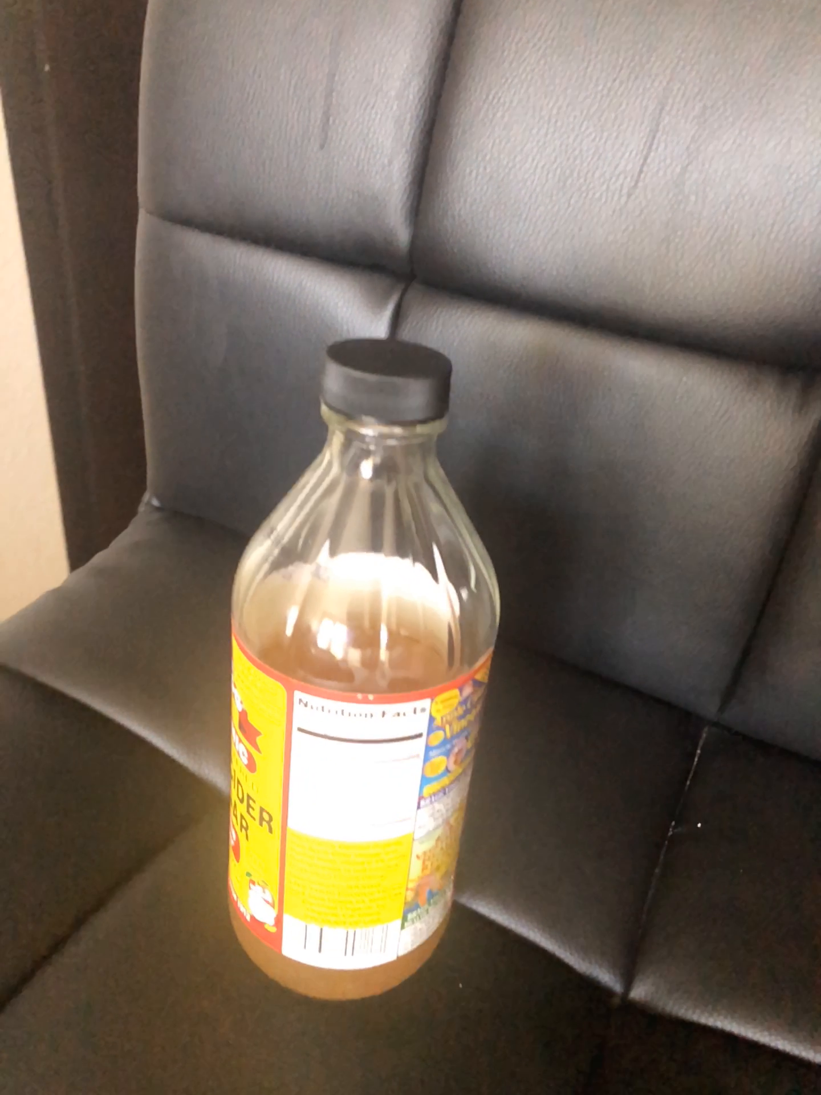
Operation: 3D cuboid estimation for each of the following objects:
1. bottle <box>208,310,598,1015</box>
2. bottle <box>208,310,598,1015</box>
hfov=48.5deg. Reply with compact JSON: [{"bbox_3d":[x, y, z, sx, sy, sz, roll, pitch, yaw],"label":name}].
[{"bbox_3d":[-0.011,0.037,0.251,0.070,0.179,0.070,7,28,-4],"label":"bottle"},{"bbox_3d":[-0.011,0.037,0.251,0.070,0.179,0.070,7,28,-4],"label":"bottle"}]
